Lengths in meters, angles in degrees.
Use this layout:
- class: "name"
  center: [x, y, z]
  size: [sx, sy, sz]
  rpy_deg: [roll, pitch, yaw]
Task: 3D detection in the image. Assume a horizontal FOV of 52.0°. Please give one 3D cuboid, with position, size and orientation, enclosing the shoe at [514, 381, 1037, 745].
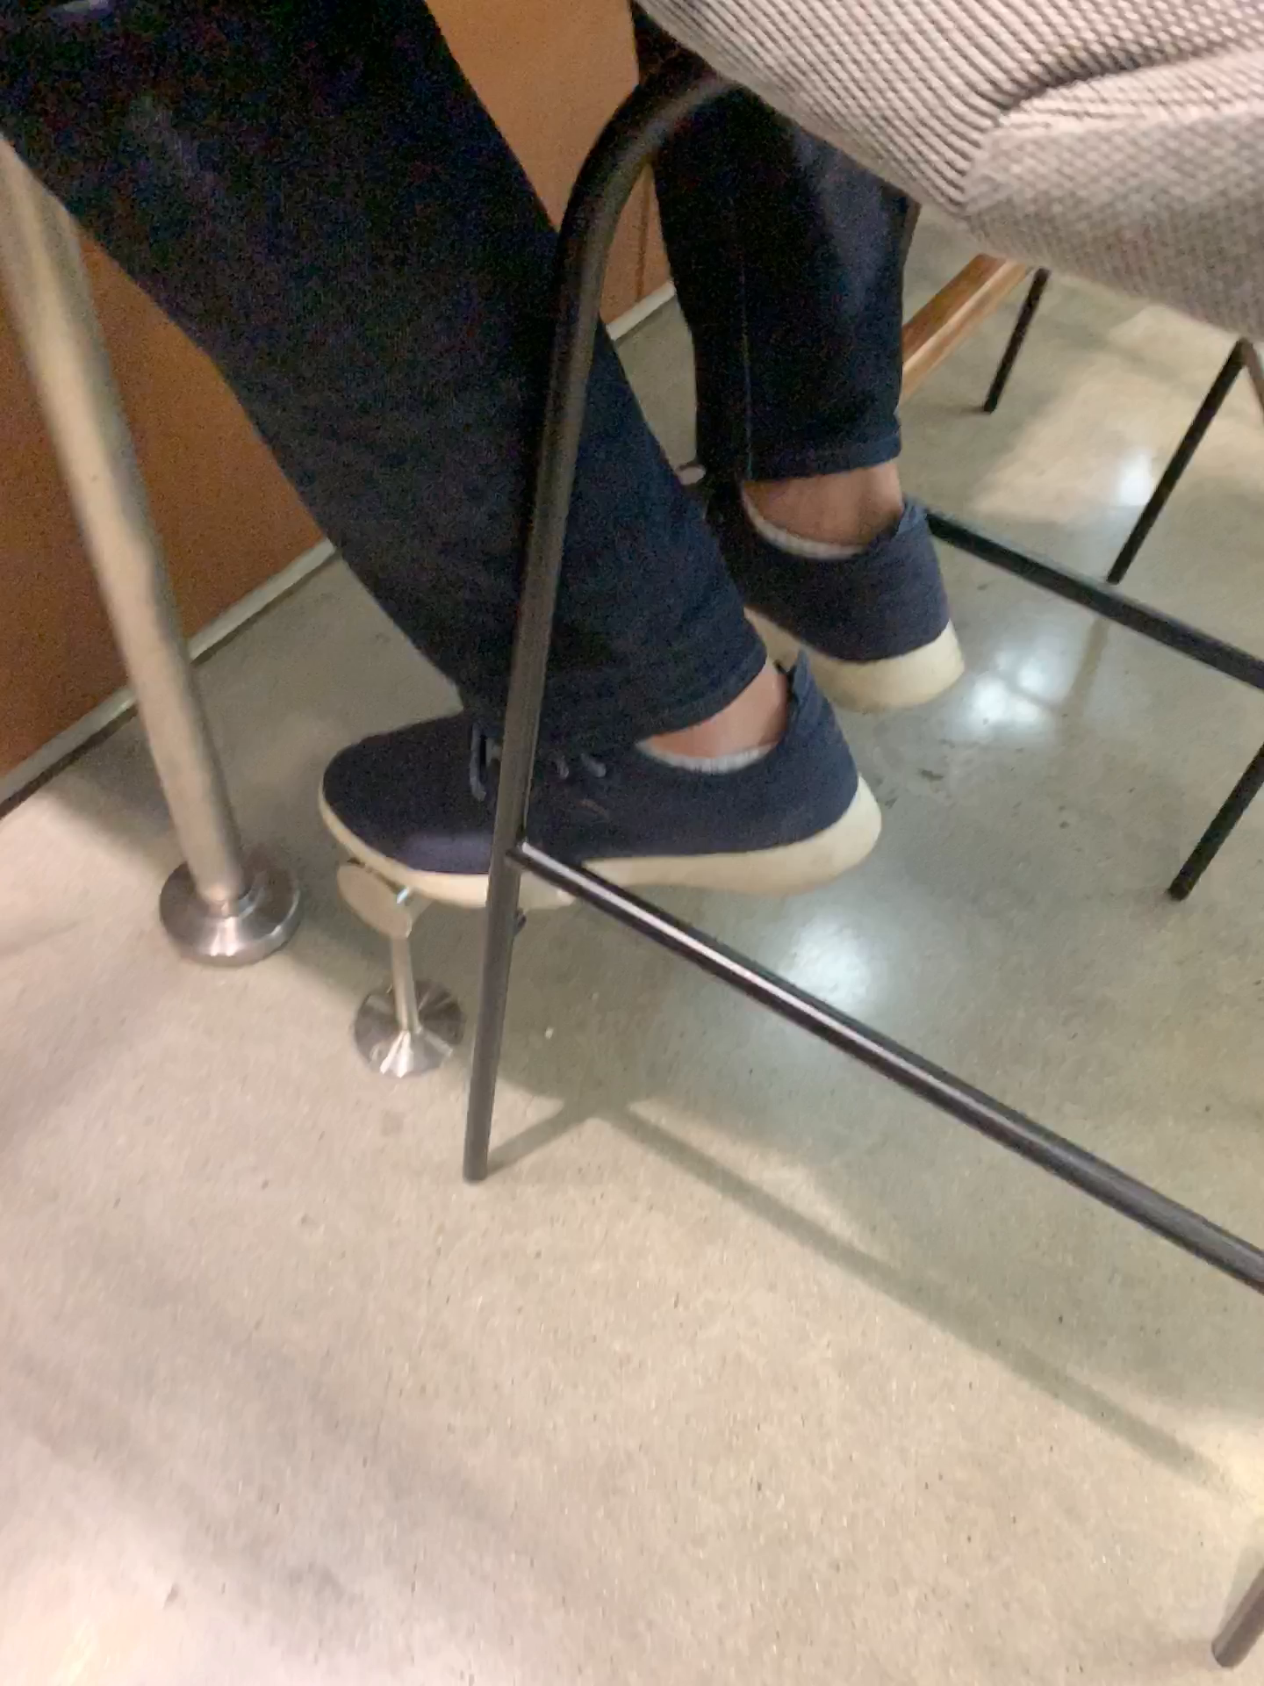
- class: "shoe"
  center: [0.076, -0.186, 0.800]
  size: [0.129, 0.093, 0.301]
  rpy_deg: [-31, 47, -31]

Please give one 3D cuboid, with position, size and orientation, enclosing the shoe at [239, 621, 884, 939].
- class: "shoe"
  center: [-0.026, -0.038, 0.666]
  size: [0.299, 0.093, 0.124]
  rpy_deg: [3, 46, 14]
